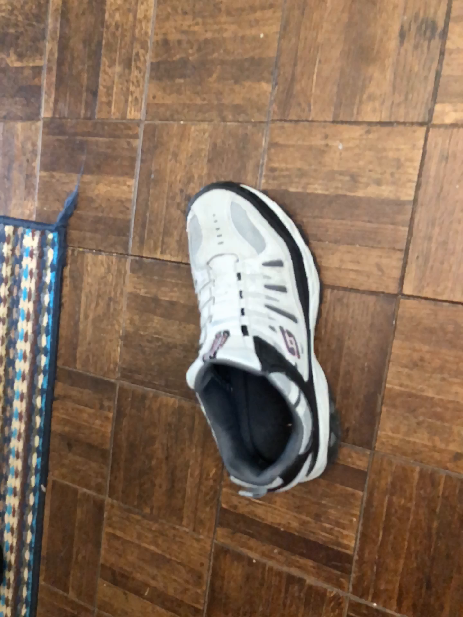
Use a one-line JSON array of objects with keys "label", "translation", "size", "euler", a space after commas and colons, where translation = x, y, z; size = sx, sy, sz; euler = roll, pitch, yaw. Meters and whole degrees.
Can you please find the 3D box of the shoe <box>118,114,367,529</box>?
[{"label": "shoe", "translation": [0.019, 0.015, 0.477], "size": [0.120, 0.150, 0.320], "euler": [-13, 88, 25]}]
